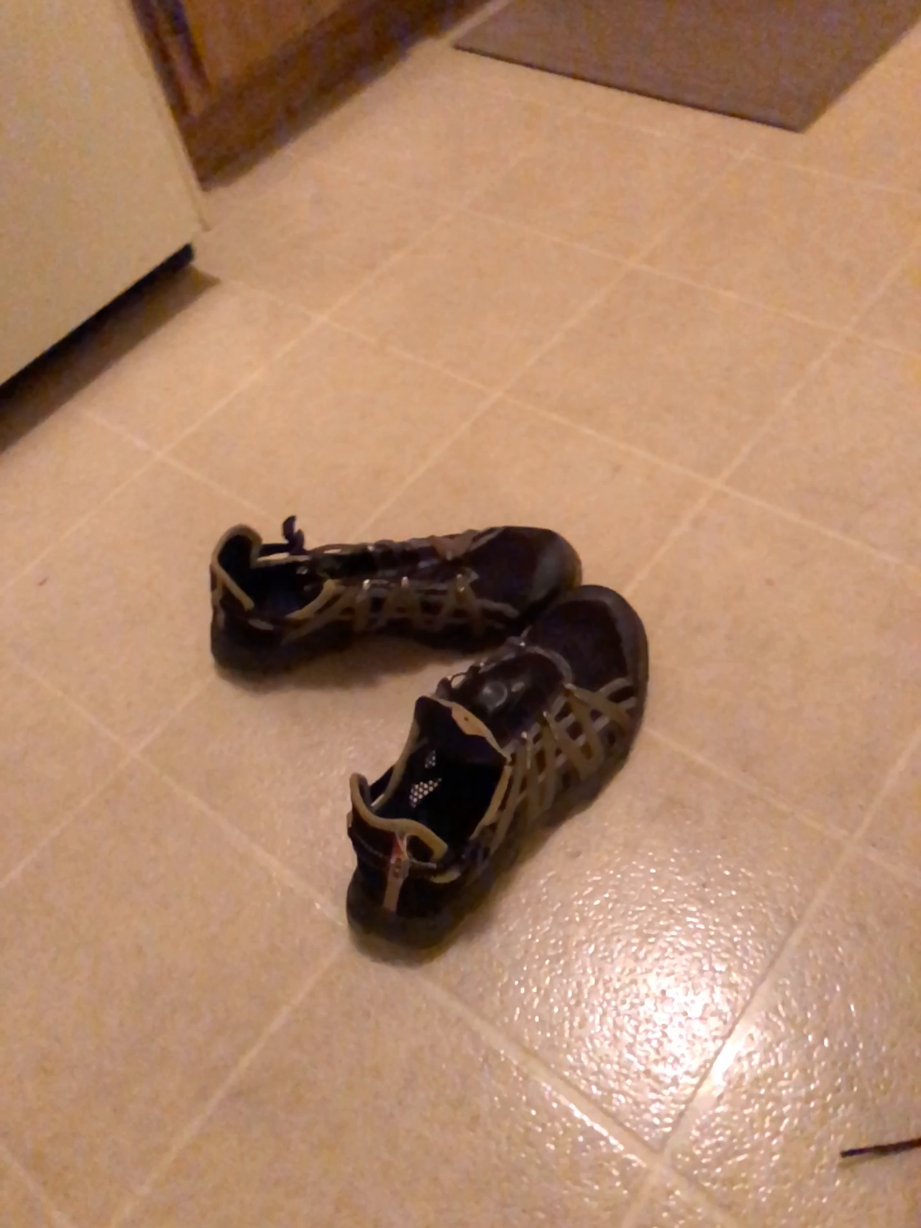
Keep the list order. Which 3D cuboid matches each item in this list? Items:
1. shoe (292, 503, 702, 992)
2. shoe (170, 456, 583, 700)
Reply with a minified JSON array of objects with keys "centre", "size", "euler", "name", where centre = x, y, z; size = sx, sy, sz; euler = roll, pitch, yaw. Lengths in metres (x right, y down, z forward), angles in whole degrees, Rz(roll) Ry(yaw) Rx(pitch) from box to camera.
[{"centre":[0.038,0.078,0.666],"size":[0.109,0.111,0.287],"euler":[27,62,26],"name":"shoe"},{"centre":[-0.057,-0.024,0.759],"size":[0.279,0.109,0.100],"euler":[-7,53,5],"name":"shoe"}]
